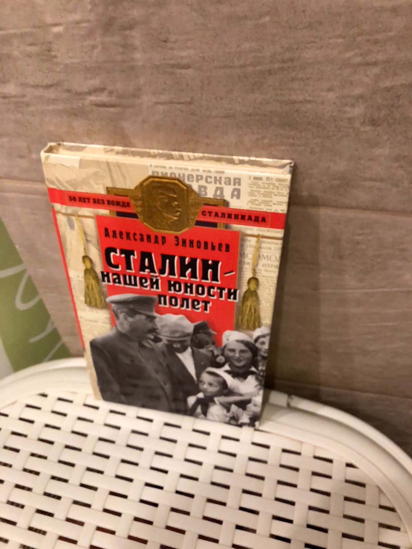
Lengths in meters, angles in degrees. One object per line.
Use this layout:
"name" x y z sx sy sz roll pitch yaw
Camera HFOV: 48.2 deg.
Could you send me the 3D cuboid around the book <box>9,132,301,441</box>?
"book" -0.025 0.020 0.287 0.140 0.199 0.030 8 39 11
